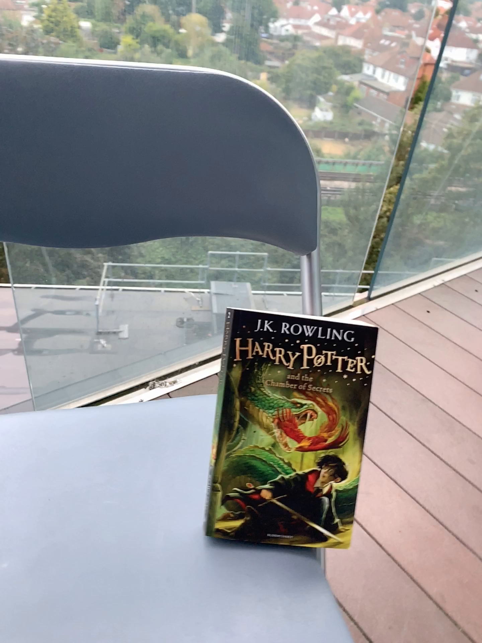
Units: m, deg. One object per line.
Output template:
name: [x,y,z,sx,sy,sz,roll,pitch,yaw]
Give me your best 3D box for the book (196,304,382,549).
book: [0.039,0.092,0.441,0.140,0.200,0.040,5,5,-3]
